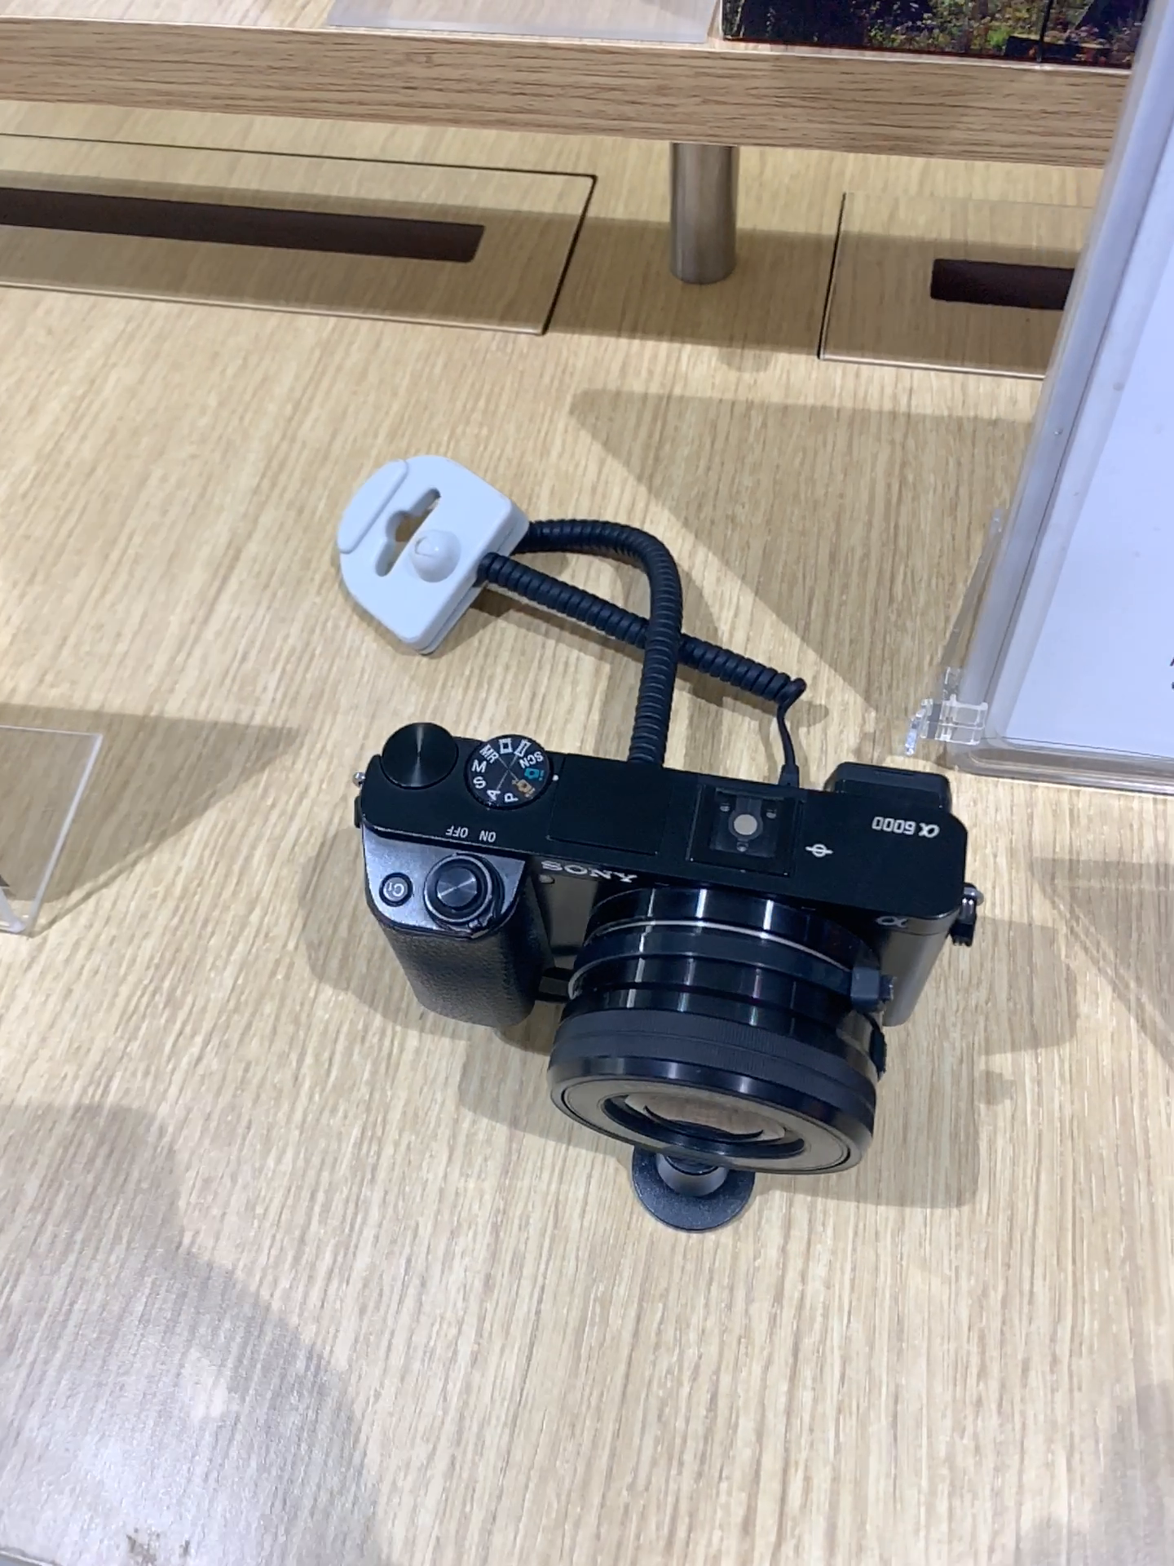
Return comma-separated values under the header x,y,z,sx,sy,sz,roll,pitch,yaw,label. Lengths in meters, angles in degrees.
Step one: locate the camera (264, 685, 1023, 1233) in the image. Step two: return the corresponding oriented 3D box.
x,y,z,sx,sy,sz,roll,pitch,yaw,label
0.016,0.041,0.261,0.130,0.090,0.070,7,60,9,camera
